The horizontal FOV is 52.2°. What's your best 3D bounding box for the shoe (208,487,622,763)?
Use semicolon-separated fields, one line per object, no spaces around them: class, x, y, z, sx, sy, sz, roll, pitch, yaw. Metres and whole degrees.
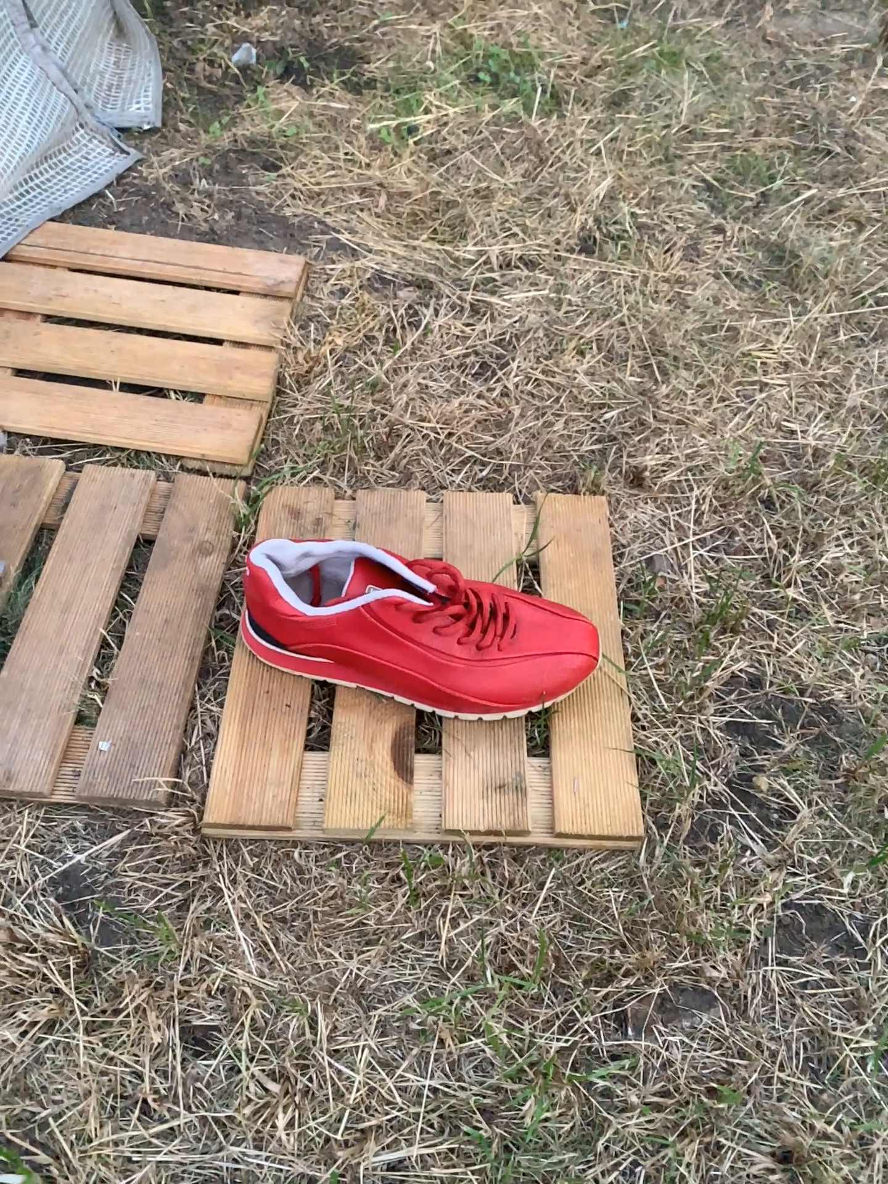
shoe;-0.019;0.025;0.644;0.260;0.099;0.101;14;56;2
